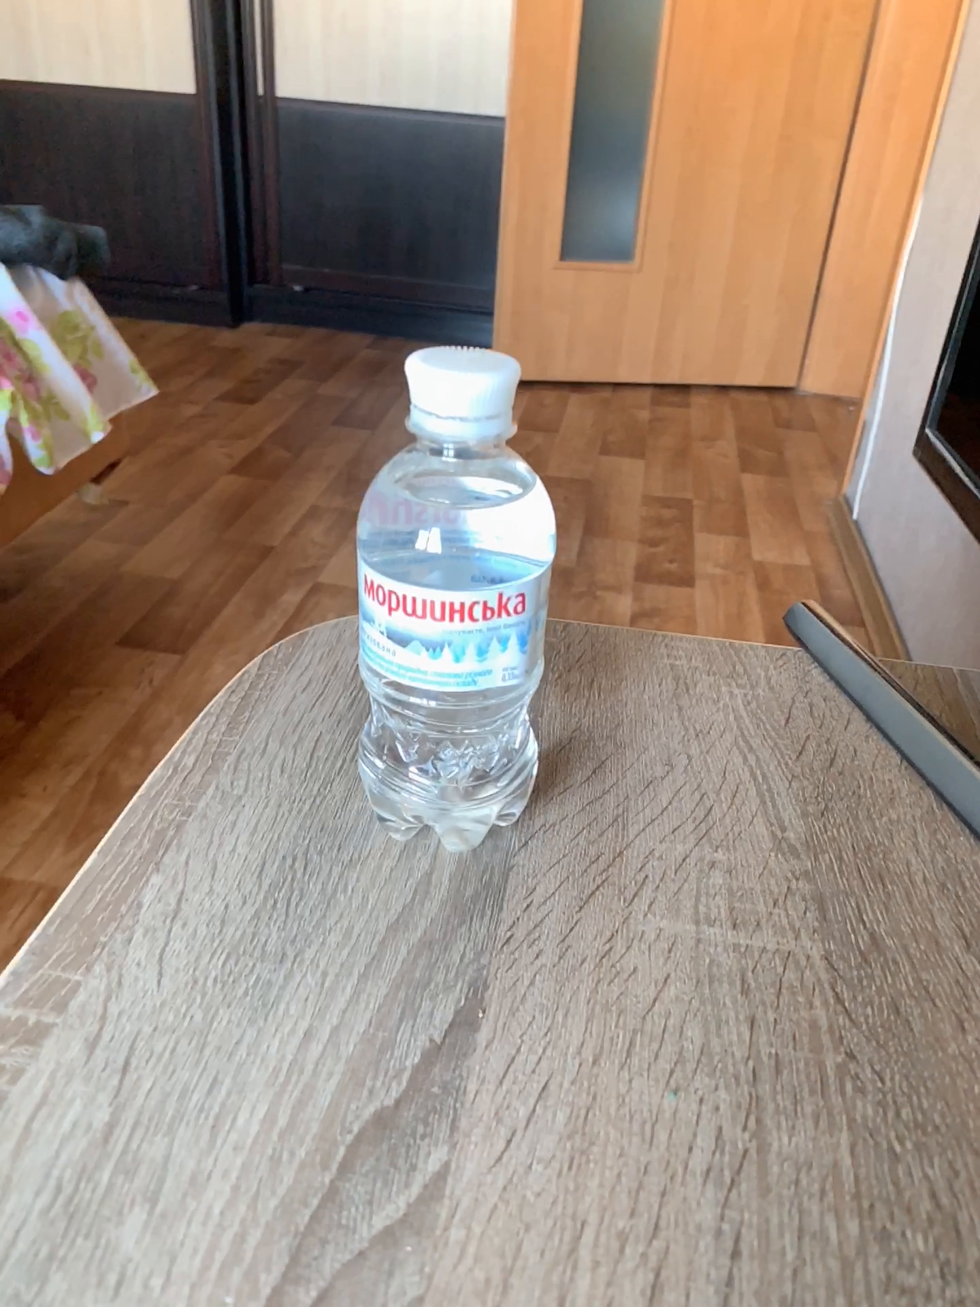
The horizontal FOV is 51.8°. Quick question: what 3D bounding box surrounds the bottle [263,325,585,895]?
[{"bbox_3d":[-0.018,-0.013,0.308,0.070,0.149,0.070,3,30,-2],"label":"bottle"}]
